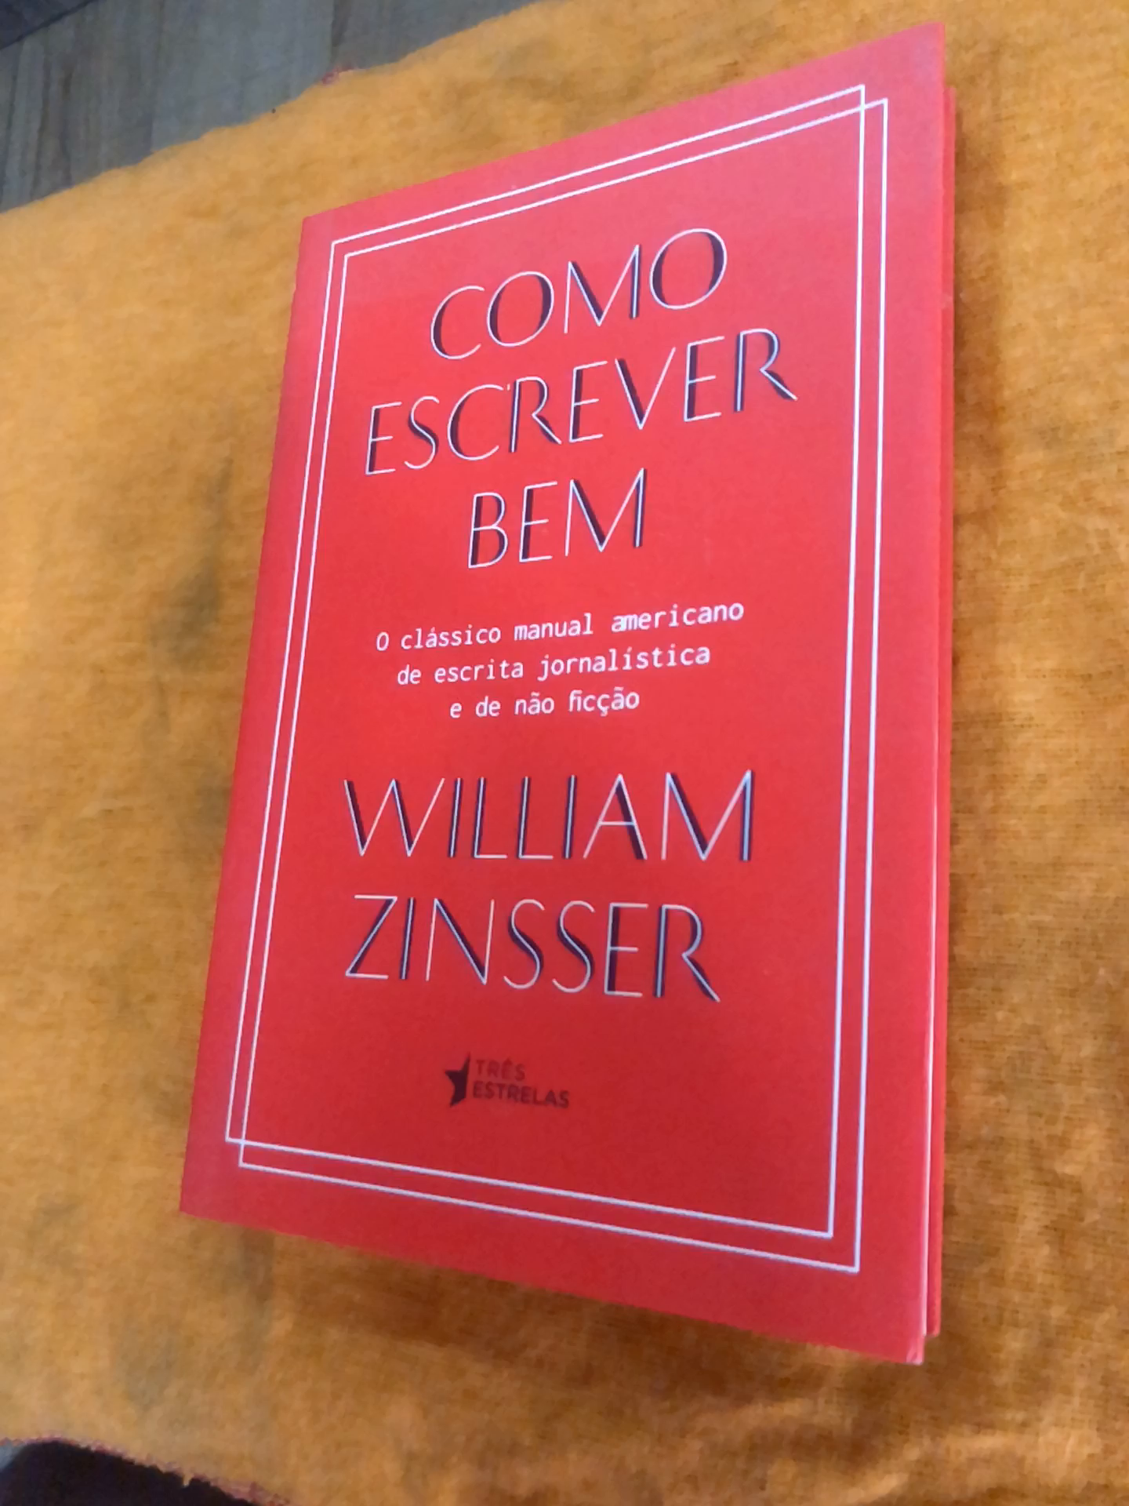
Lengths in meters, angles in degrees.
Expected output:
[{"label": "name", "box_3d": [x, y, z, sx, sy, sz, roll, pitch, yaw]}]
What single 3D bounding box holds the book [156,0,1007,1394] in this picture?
[{"label": "book", "box_3d": [0.000, -0.014, 0.215, 0.140, 0.020, 0.195, -2, 77, 30]}]
